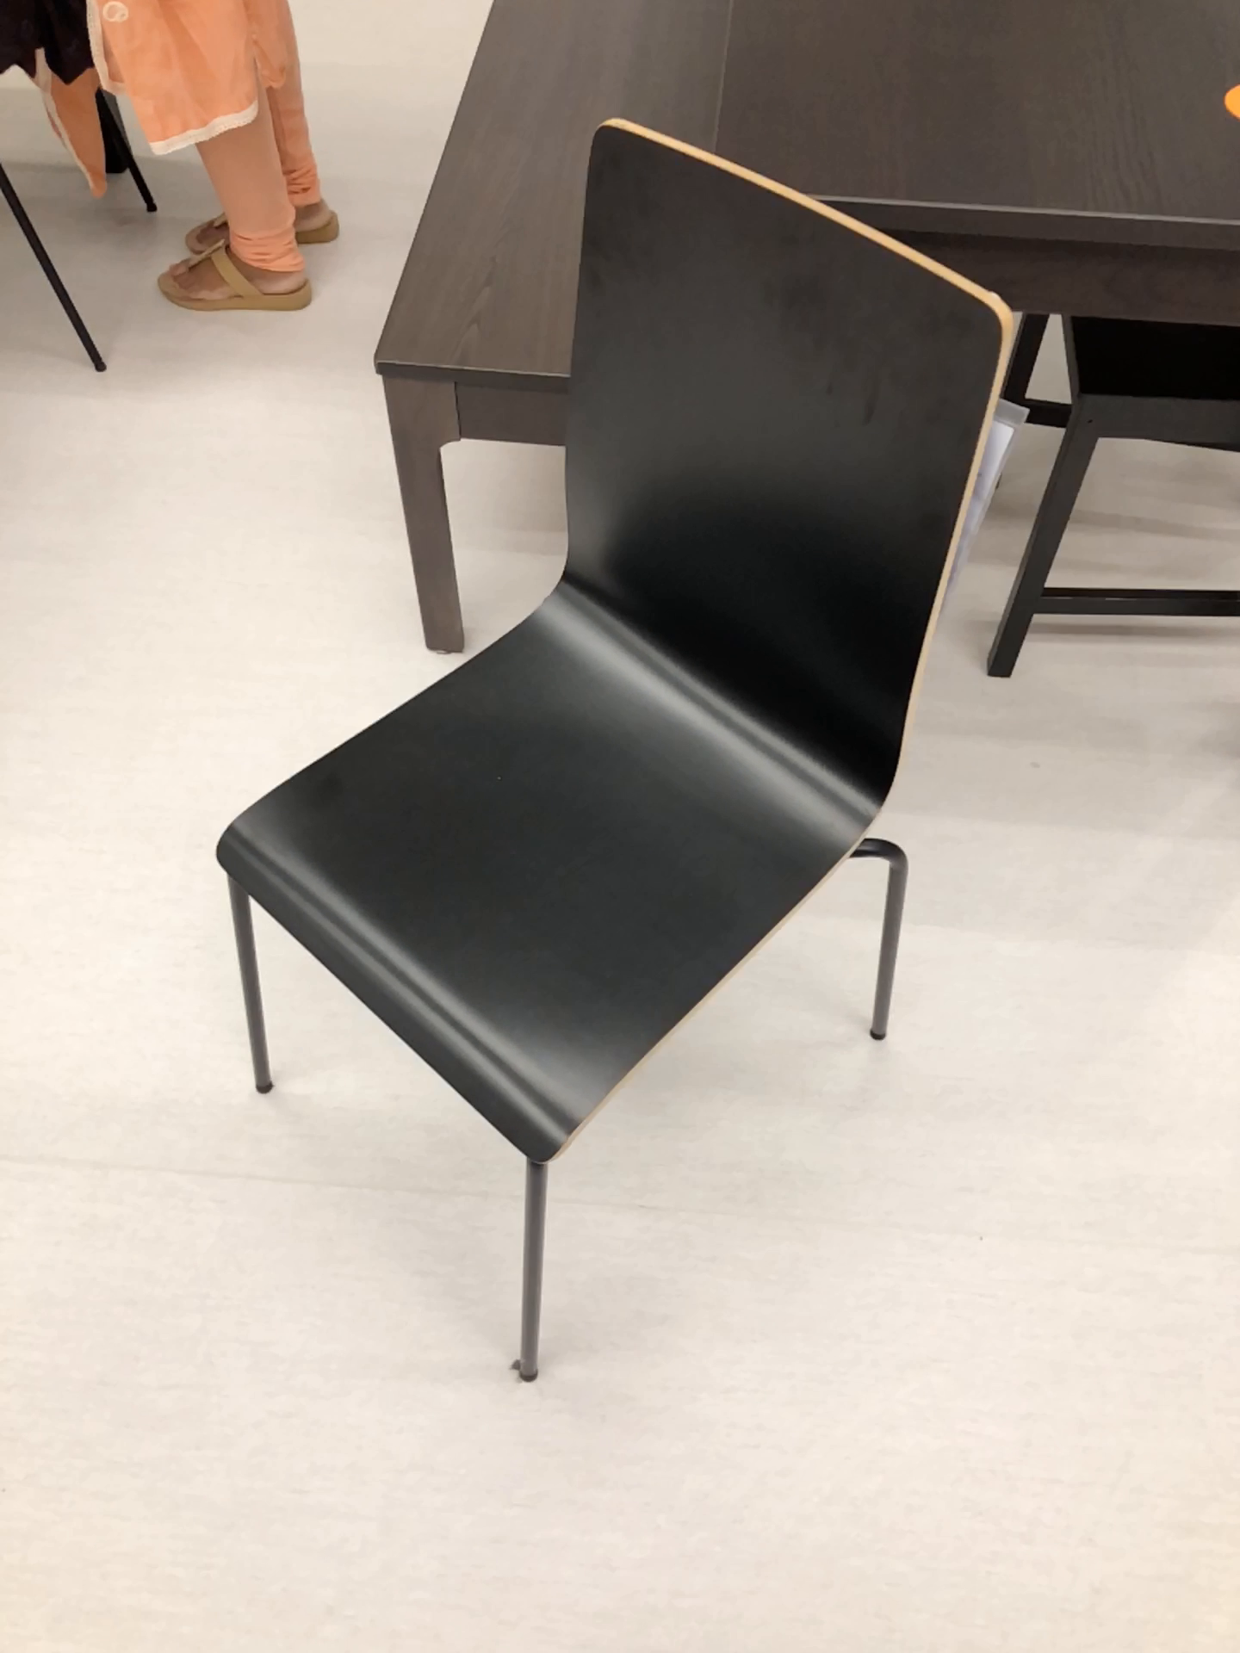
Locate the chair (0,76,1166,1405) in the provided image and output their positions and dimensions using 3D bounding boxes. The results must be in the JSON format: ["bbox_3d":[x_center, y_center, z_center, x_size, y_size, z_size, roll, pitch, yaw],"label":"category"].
[{"bbox_3d":[-0.042,-0.006,1.073,0.451,0.806,0.531,39,63,24],"label":"chair"}]
